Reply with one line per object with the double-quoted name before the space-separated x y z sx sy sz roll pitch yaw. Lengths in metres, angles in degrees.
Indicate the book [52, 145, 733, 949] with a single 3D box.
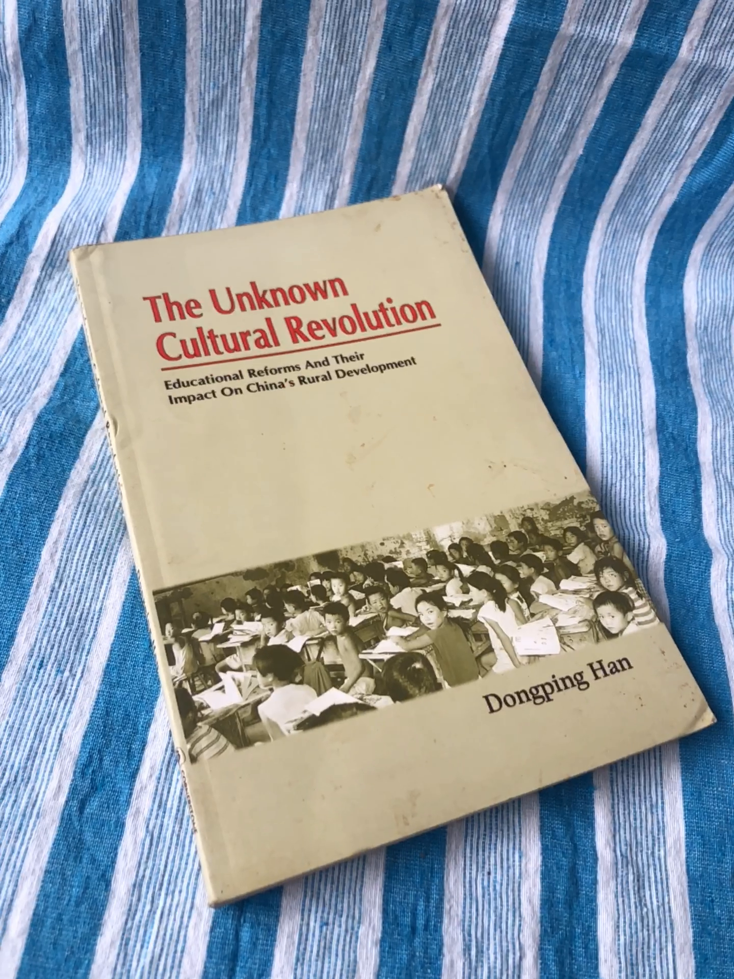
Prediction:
"book" -0.007 -0.014 0.245 0.140 0.020 0.230 -15 59 -10
